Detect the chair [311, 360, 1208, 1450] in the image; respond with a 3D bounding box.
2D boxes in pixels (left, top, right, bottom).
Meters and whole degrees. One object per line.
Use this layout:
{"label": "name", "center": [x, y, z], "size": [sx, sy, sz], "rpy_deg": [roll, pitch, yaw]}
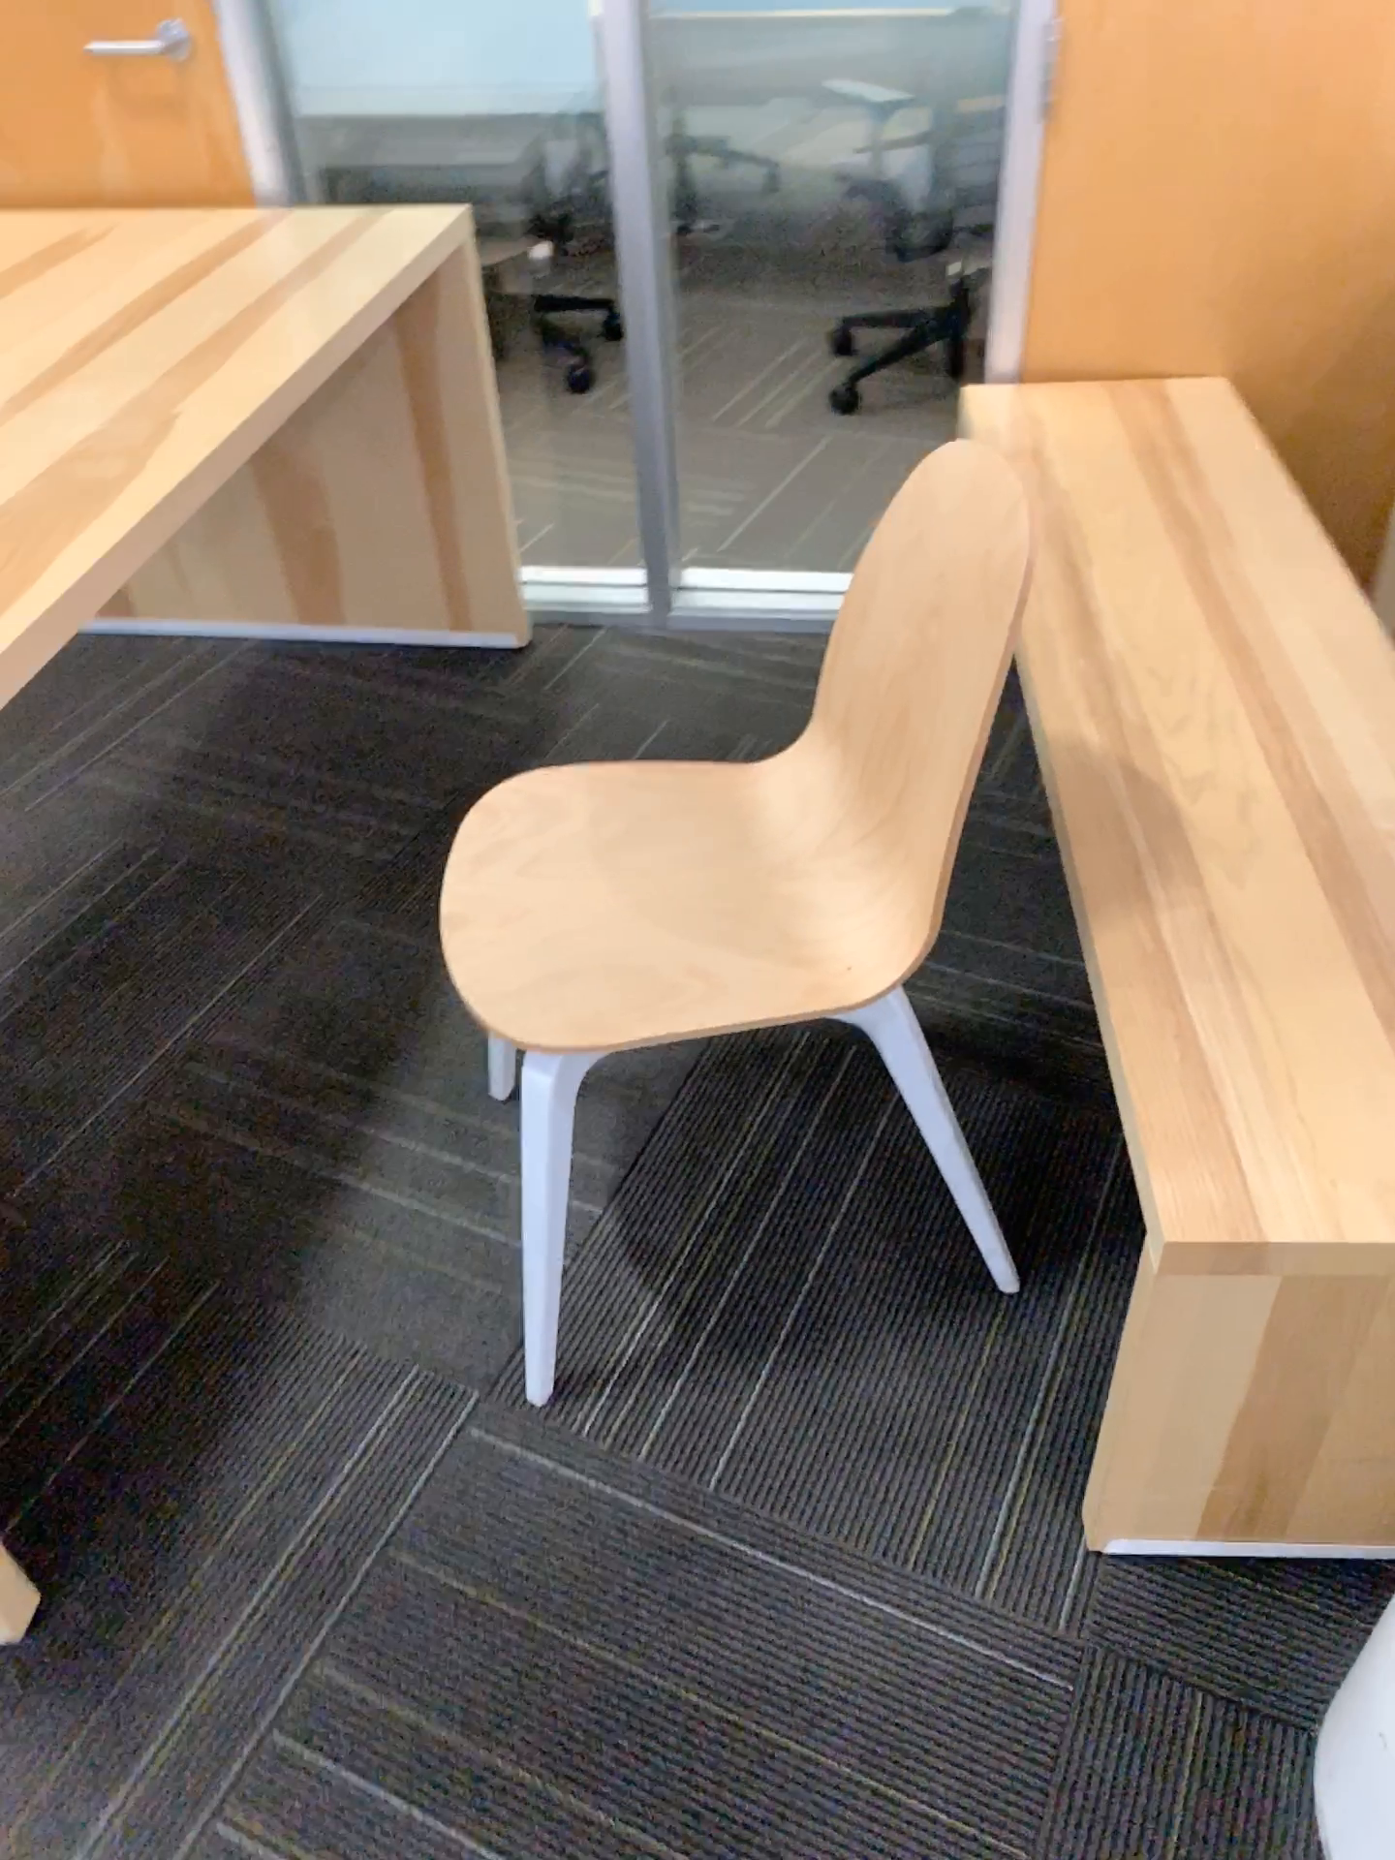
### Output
{"label": "chair", "center": [0.025, -0.011, 1.411], "size": [0.600, 0.835, 0.543], "rpy_deg": [-9, 40, -6]}
